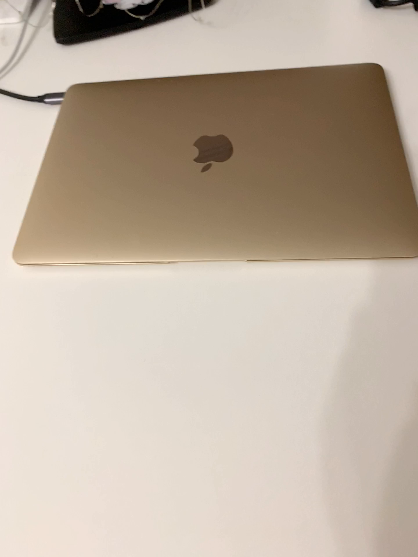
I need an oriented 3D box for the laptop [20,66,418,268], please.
[{"bbox_3d":[0.006,-0.088,0.318,0.255,0.009,0.175,-1,60,7],"label":"laptop"}]
